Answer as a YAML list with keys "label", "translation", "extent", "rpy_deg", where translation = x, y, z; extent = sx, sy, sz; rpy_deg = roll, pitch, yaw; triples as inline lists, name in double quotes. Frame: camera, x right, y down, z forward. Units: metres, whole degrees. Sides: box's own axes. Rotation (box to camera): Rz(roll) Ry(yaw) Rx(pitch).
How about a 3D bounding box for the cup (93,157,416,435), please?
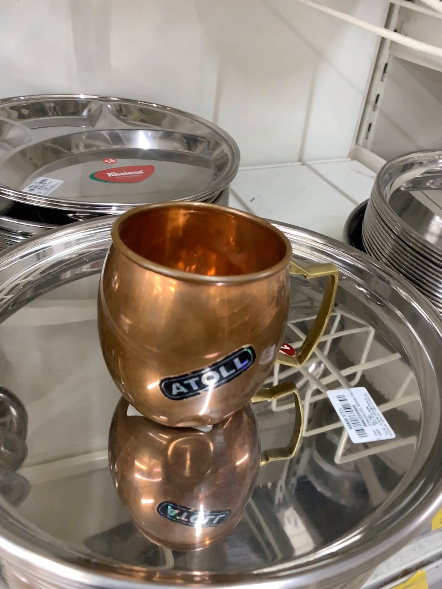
- label: "cup"
  translation: [0.002, -0.005, 0.223]
  extent: [0.120, 0.090, 0.090]
  rpy_deg: [-3, 38, -16]
